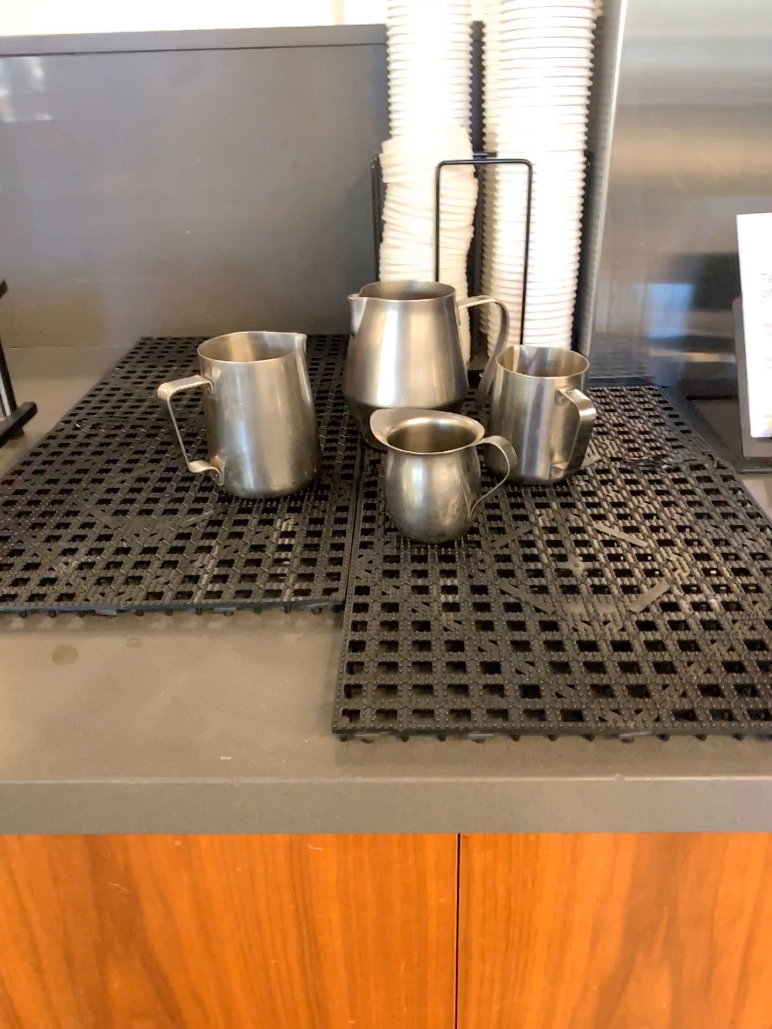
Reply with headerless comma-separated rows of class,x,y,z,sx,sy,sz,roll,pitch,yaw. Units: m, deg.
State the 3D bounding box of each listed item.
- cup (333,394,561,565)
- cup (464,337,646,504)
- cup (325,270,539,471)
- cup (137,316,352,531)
cup,0.039,-0.028,0.517,0.120,0.060,0.080,17,34,31
cup,0.120,-0.074,0.590,0.080,0.080,0.111,-12,30,-19
cup,0.036,-0.126,0.674,0.150,0.129,0.101,-8,29,-12
cup,-0.098,-0.072,0.578,0.080,0.109,0.120,22,36,37
